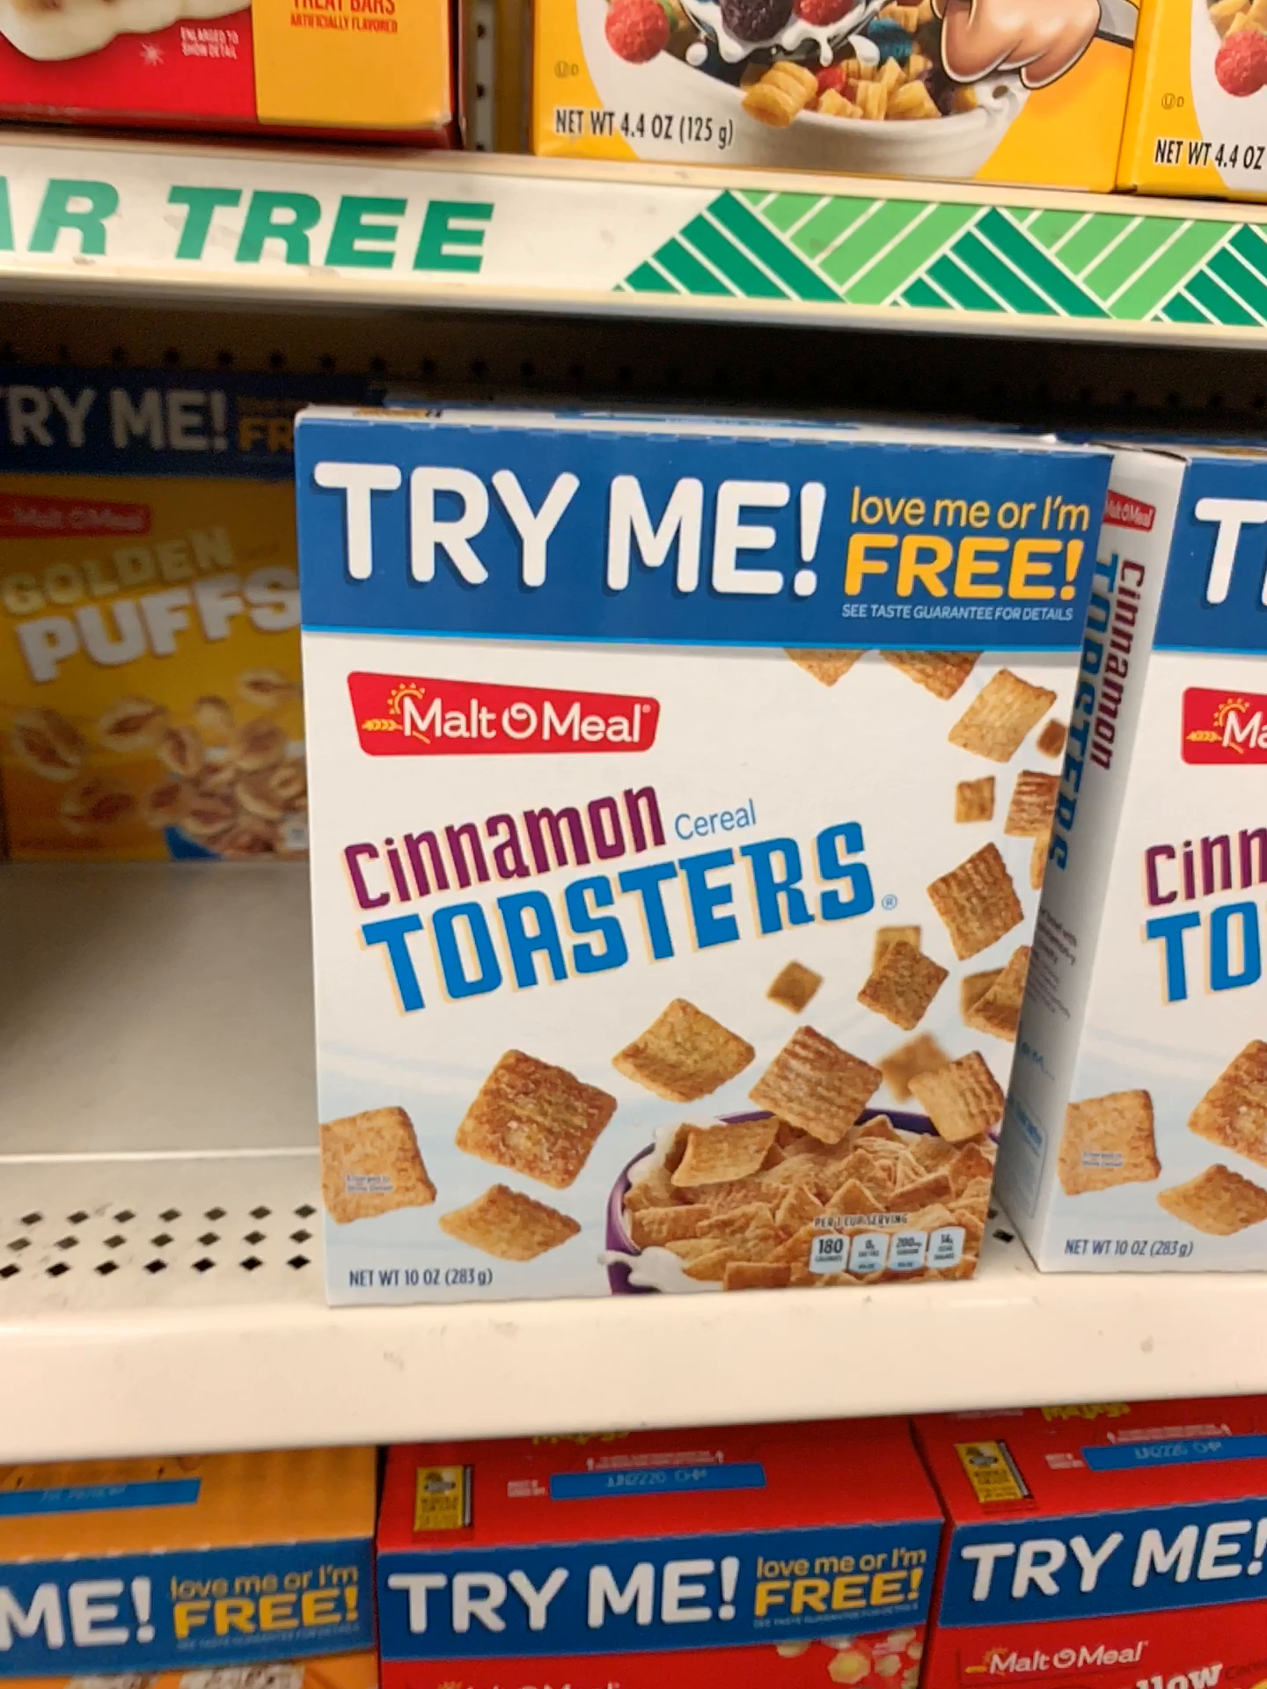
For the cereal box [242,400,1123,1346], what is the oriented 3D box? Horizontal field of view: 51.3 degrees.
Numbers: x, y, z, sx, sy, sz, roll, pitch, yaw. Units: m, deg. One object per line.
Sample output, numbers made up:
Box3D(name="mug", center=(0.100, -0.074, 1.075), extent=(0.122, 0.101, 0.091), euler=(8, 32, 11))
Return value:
Box3D(name="cereal box", center=(0.004, 0.012, 0.310), extent=(0.170, 0.209, 0.050), euler=(0, 21, -9))
